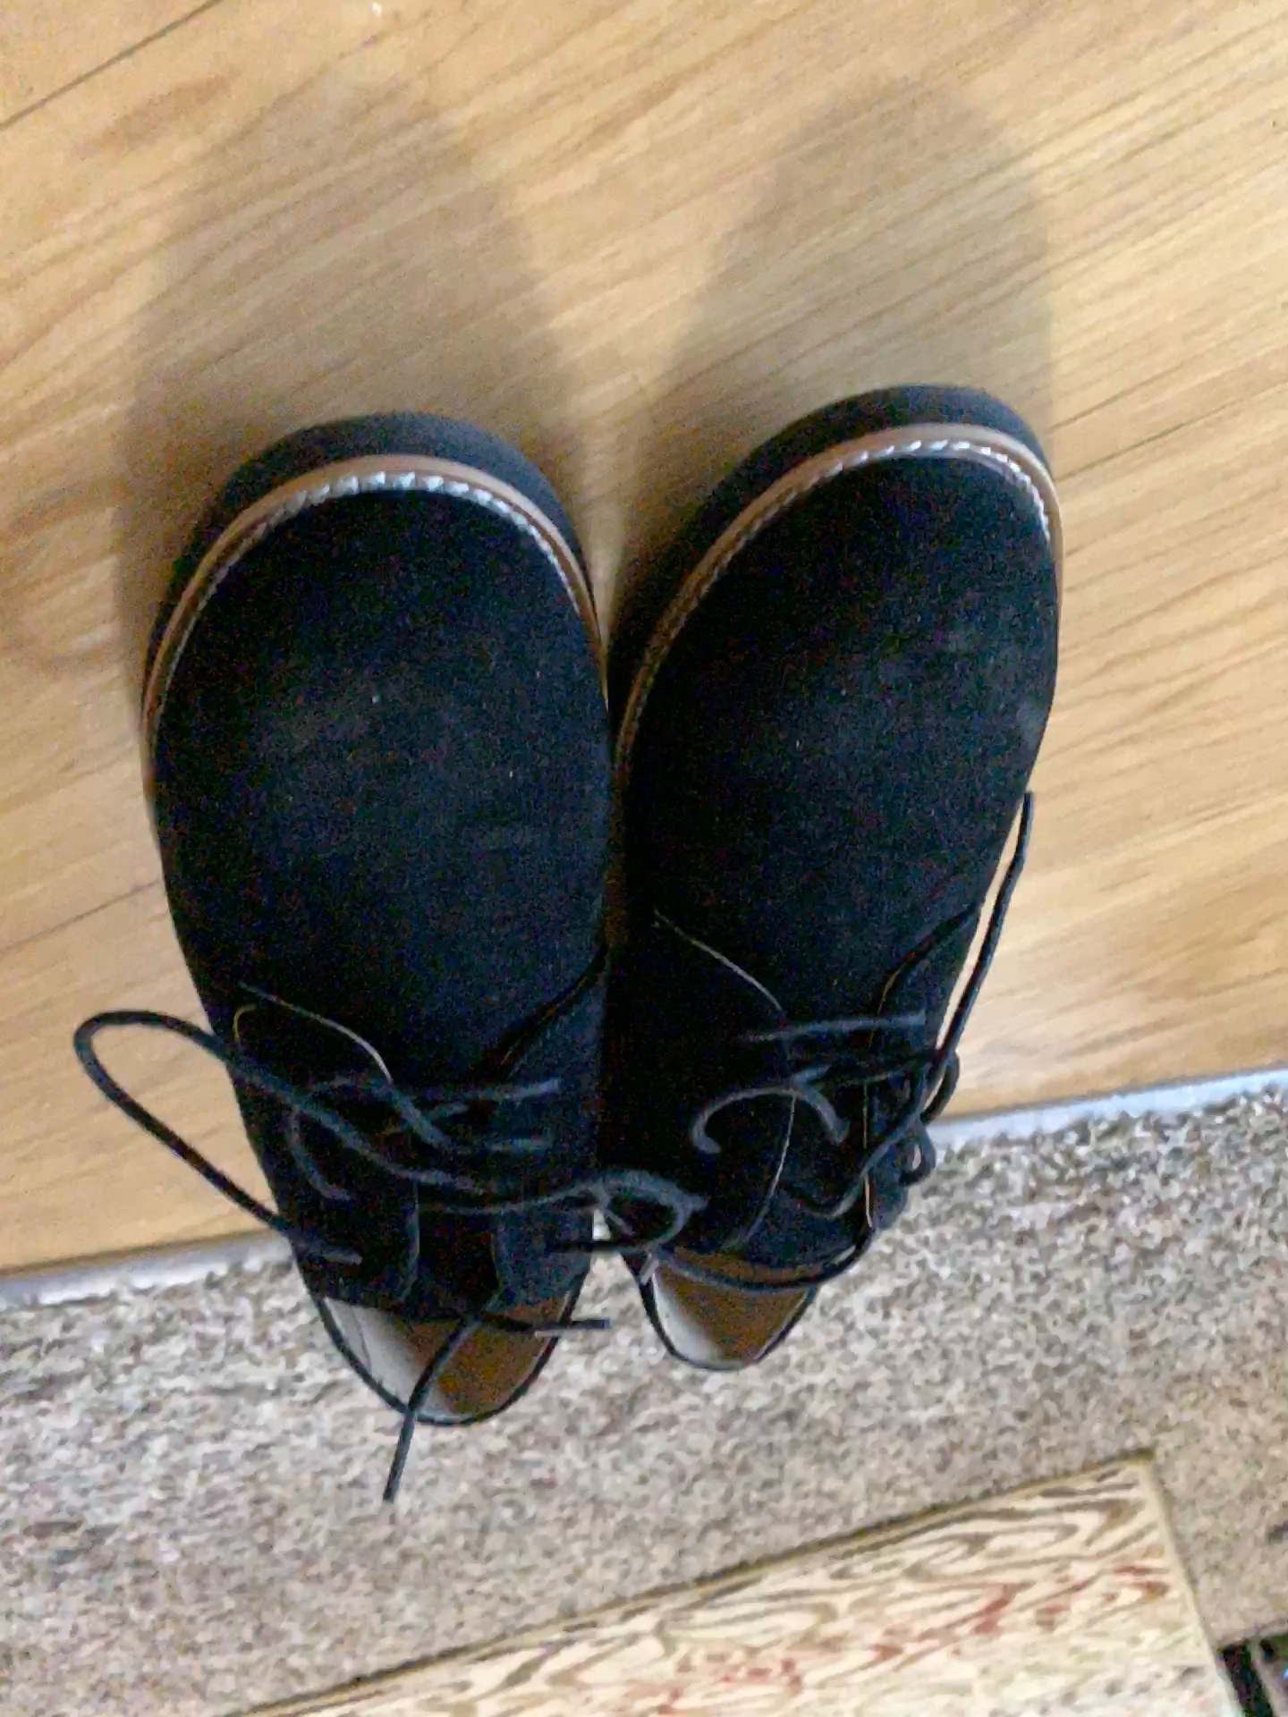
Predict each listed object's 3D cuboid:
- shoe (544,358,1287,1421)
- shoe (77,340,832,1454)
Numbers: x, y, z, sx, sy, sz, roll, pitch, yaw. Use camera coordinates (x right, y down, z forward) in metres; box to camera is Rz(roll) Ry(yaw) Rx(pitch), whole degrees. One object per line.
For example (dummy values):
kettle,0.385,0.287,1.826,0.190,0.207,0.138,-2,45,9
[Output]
shoe,0.052,0.043,0.337,0.110,0.069,0.312,-1,138,-14
shoe,-0.044,0.044,0.315,0.100,0.069,0.313,-4,139,-11
